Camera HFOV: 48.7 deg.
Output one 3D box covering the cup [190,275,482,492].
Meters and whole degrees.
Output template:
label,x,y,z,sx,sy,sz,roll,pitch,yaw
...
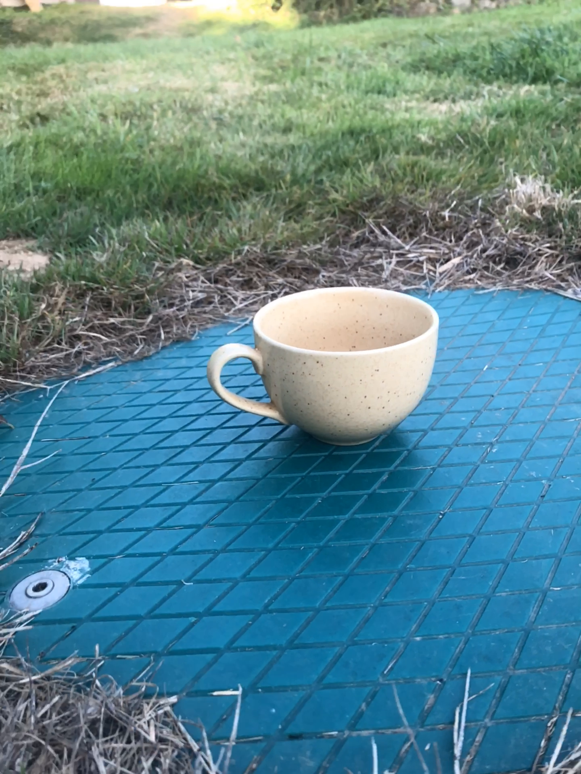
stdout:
label,x,y,z,sx,sy,sz,roll,pitch,yaw
cup,0.025,-0.012,0.416,0.142,0.065,0.124,-15,29,-19
